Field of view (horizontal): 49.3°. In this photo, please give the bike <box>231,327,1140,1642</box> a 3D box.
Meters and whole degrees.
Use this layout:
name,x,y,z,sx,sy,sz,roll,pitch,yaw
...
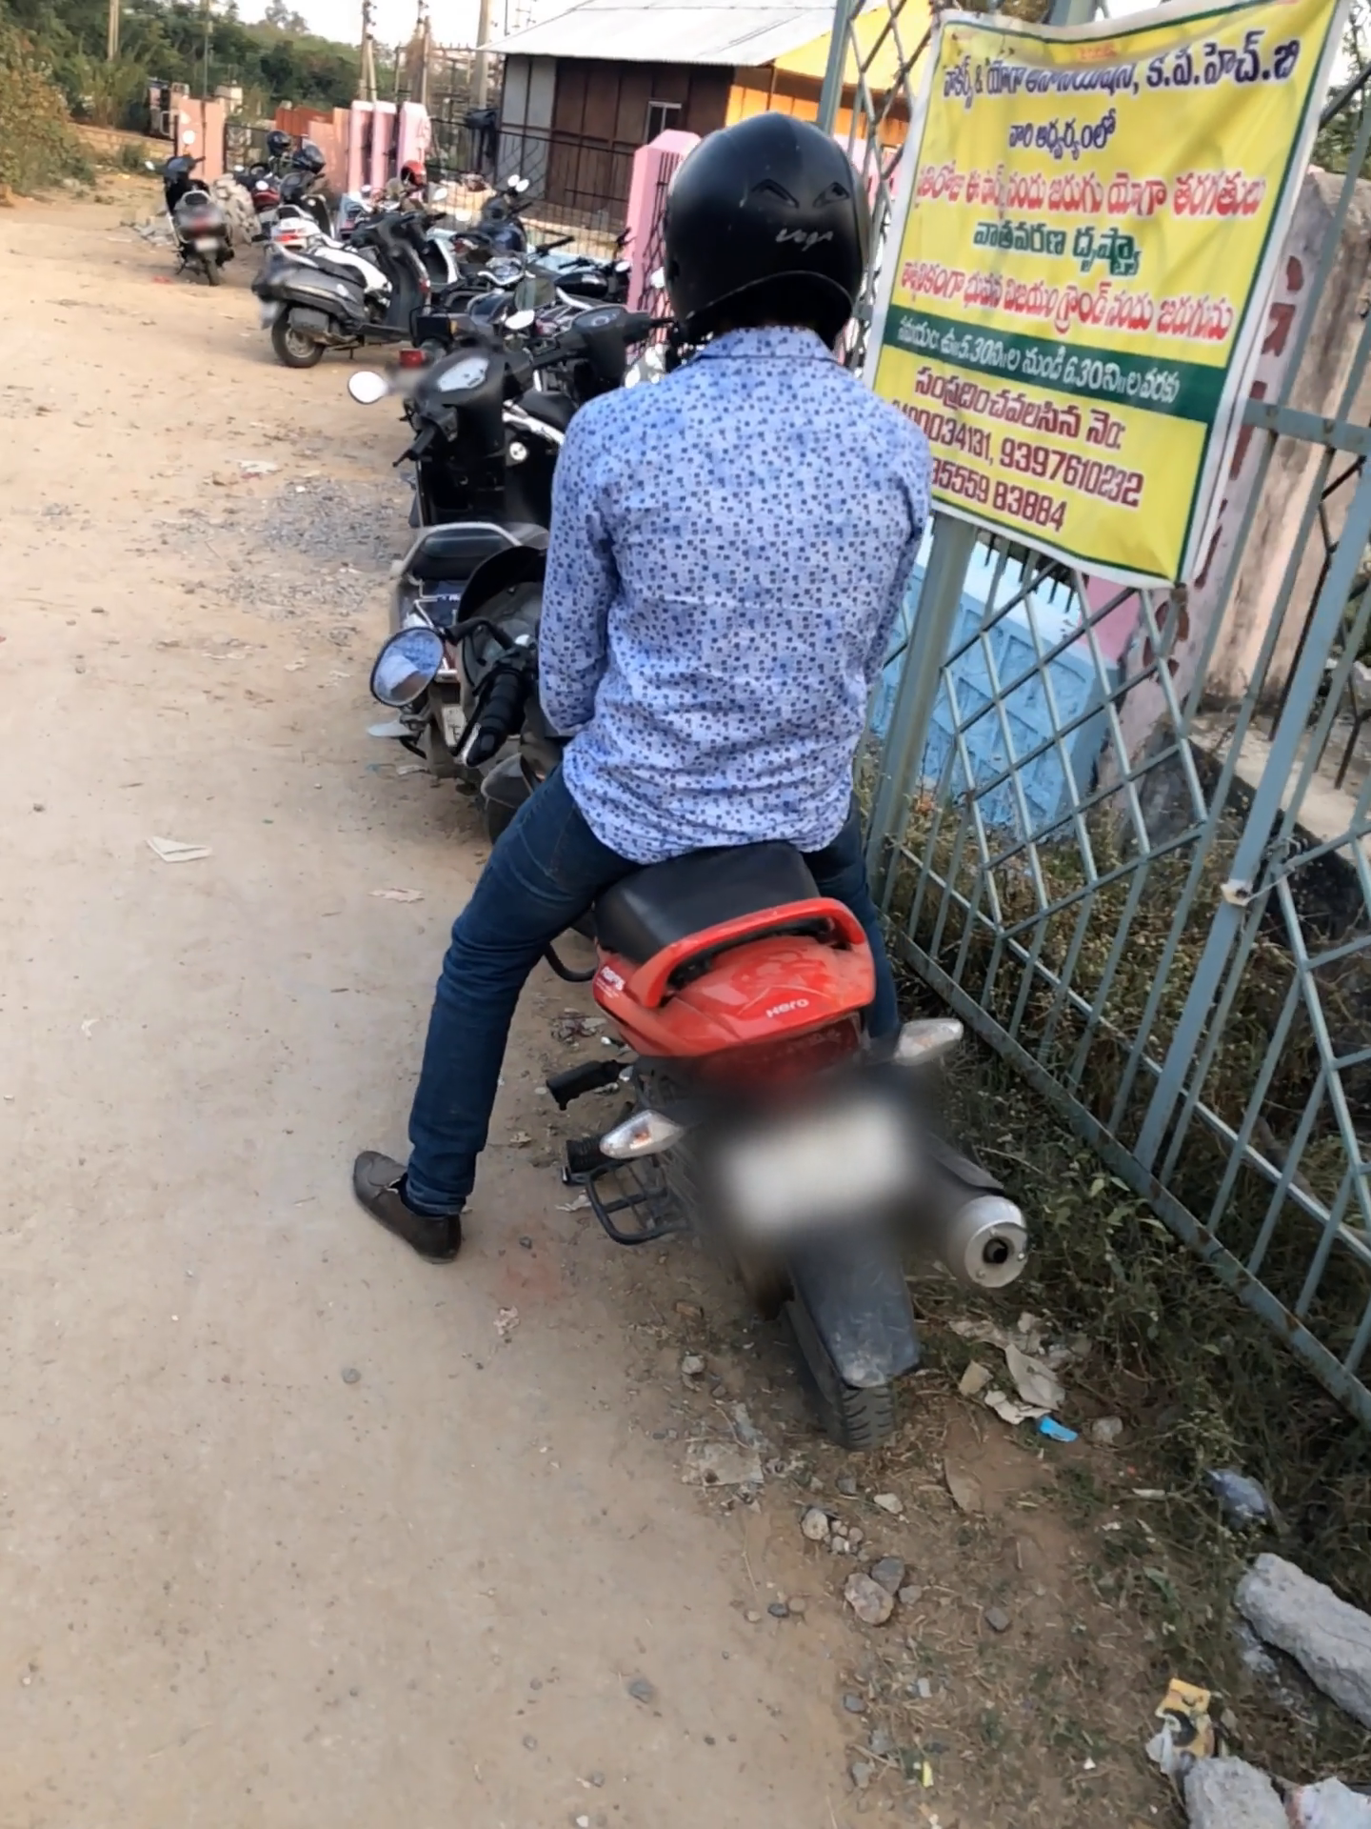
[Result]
name,x,y,z,sx,sy,sz,roll,pitch,yaw
bike,-0.247,-0.083,2.278,0.582,1.176,1.696,-3,29,-24
